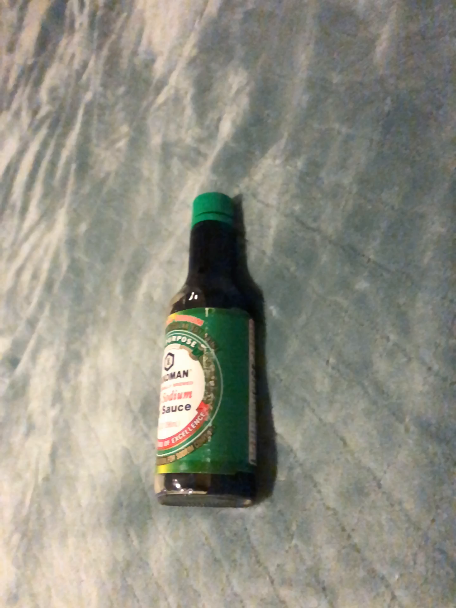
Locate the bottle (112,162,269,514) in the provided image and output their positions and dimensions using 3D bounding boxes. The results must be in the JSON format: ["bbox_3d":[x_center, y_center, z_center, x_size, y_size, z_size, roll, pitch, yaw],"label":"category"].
[{"bbox_3d":[-0.021,0.022,0.331,0.070,0.060,0.210,-27,54,46],"label":"bottle"}]
